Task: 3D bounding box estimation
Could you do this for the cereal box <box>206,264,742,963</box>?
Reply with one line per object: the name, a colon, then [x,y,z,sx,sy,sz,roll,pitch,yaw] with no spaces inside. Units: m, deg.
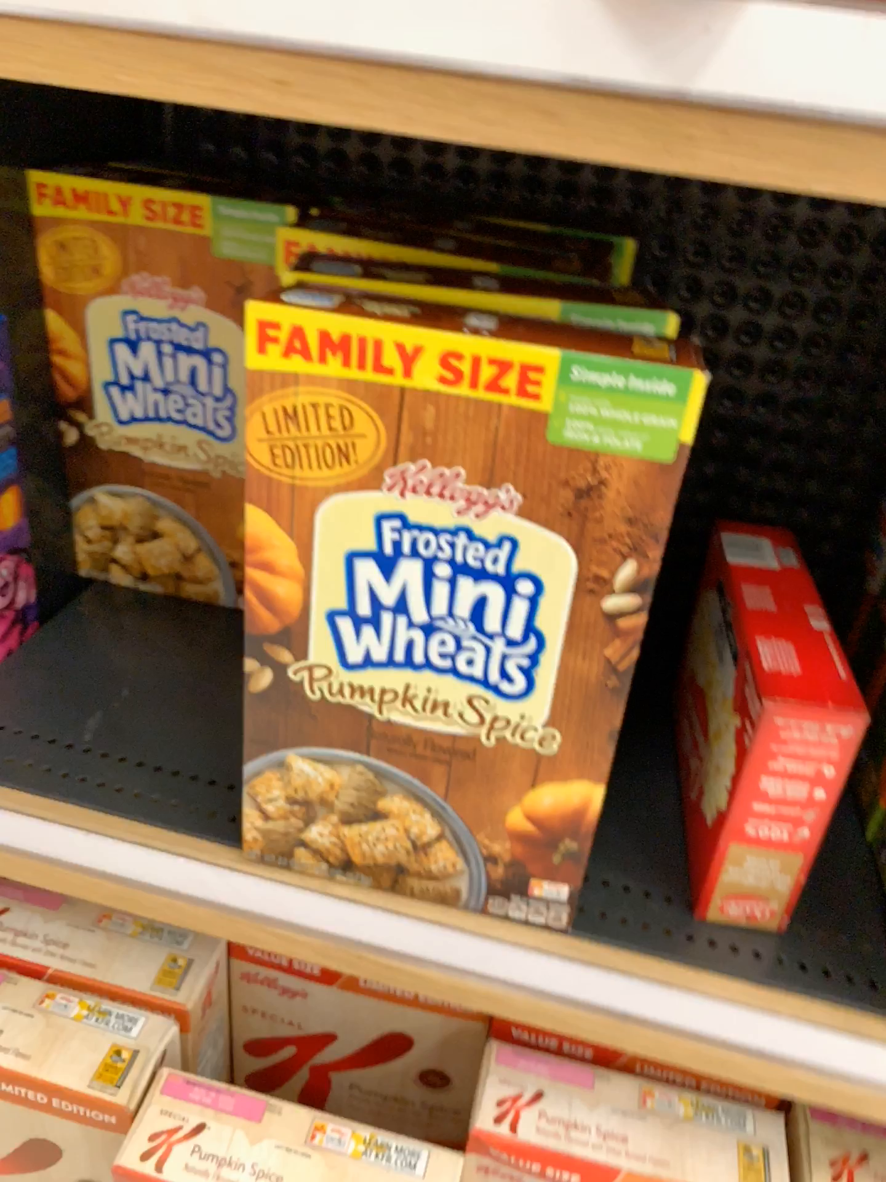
cereal box: [-0.005,0.026,0.431,0.200,0.308,0.050,10,28,5]
